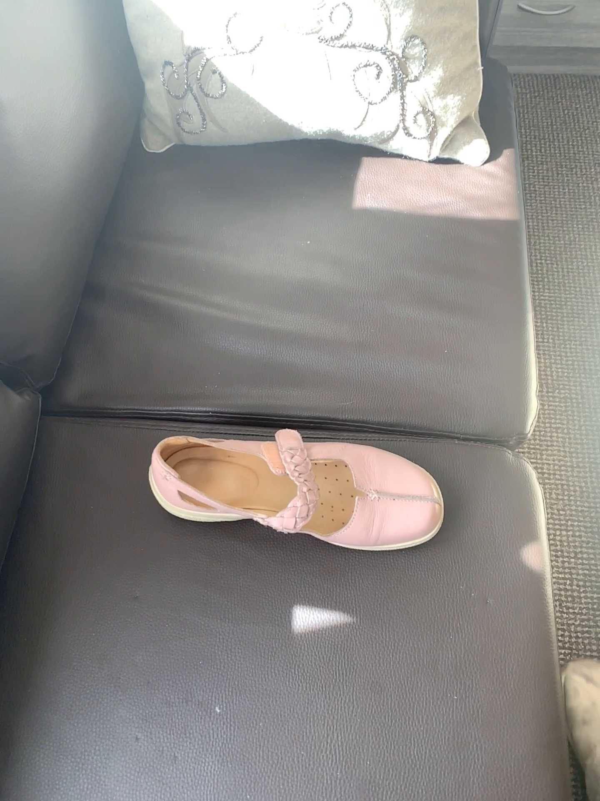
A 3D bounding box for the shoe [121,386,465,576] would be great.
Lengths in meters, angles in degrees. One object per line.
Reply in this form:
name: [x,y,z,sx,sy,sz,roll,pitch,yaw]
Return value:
shoe: [-0.001,0.071,0.528,0.260,0.099,0.105,7,66,5]
